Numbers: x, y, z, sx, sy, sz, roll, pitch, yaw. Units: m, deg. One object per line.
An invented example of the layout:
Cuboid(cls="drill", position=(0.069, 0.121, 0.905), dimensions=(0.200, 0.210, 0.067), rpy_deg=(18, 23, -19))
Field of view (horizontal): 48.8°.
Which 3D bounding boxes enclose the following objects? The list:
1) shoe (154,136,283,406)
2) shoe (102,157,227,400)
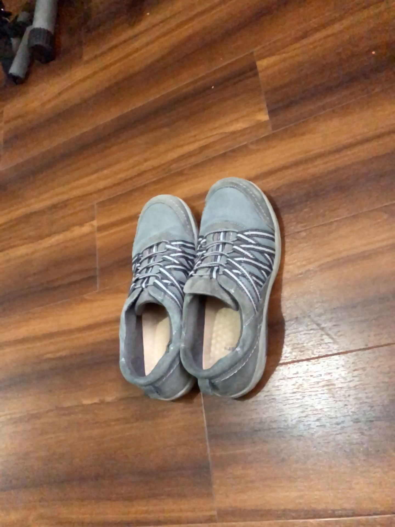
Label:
Cuboid(cls="shoe", position=(0.034, 0.014, 0.506), dimensions=(0.100, 0.109, 0.281), rpy_deg=(-5, 71, 26))
Cuboid(cls="shoe", position=(-0.047, 0.023, 0.564), dimensions=(0.100, 0.109, 0.281), rpy_deg=(-16, 66, 23))
